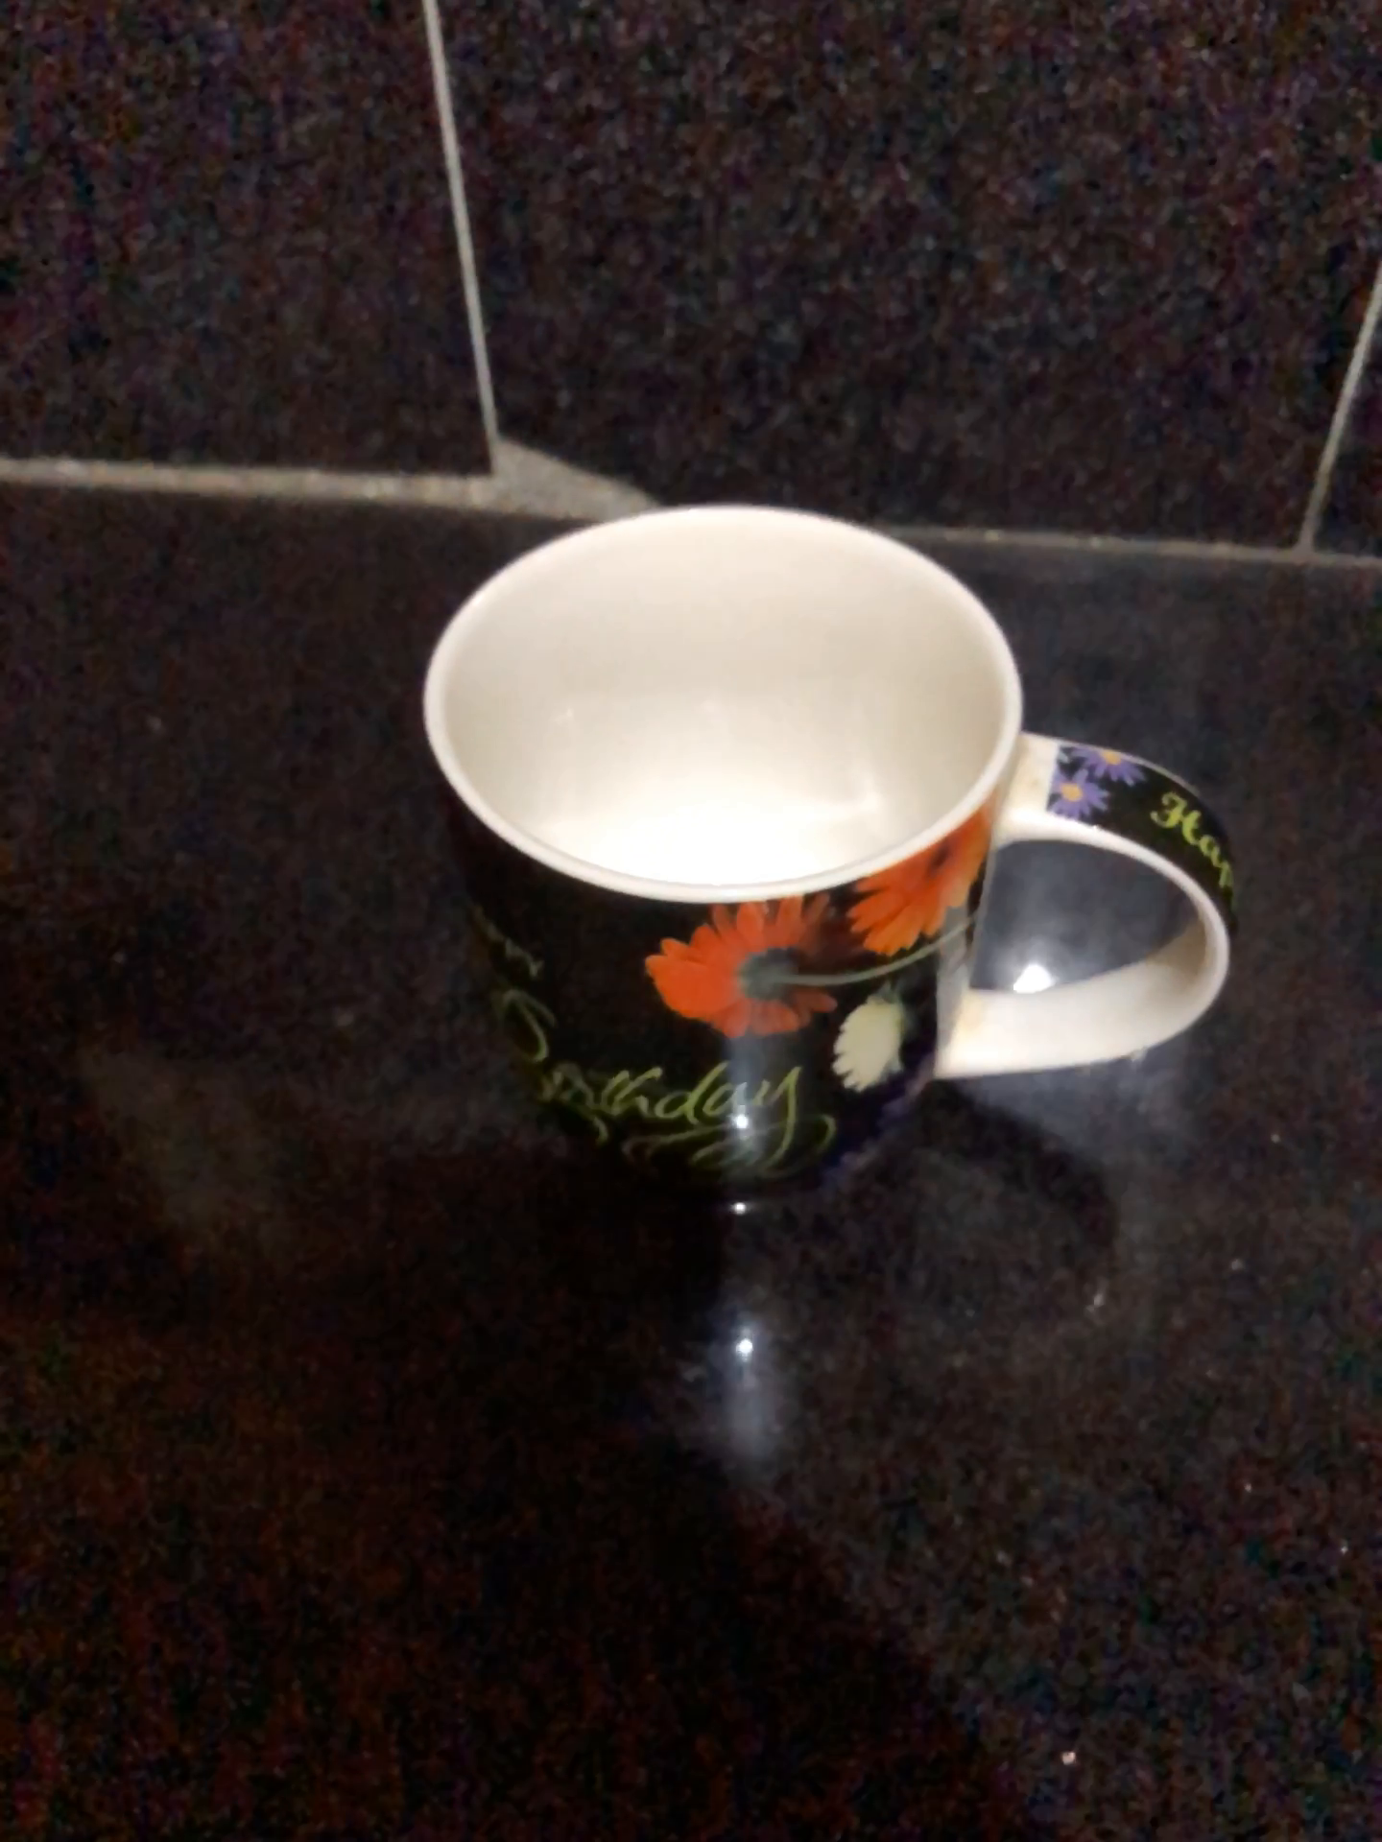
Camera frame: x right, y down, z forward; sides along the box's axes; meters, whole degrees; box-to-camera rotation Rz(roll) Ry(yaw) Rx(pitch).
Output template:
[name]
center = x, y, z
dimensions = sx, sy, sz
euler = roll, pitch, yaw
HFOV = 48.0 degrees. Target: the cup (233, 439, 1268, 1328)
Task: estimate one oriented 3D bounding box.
[cup]
center = 0.015, -0.008, 0.254
dimensions = 0.130, 0.090, 0.090
euler = 9, 50, 9
